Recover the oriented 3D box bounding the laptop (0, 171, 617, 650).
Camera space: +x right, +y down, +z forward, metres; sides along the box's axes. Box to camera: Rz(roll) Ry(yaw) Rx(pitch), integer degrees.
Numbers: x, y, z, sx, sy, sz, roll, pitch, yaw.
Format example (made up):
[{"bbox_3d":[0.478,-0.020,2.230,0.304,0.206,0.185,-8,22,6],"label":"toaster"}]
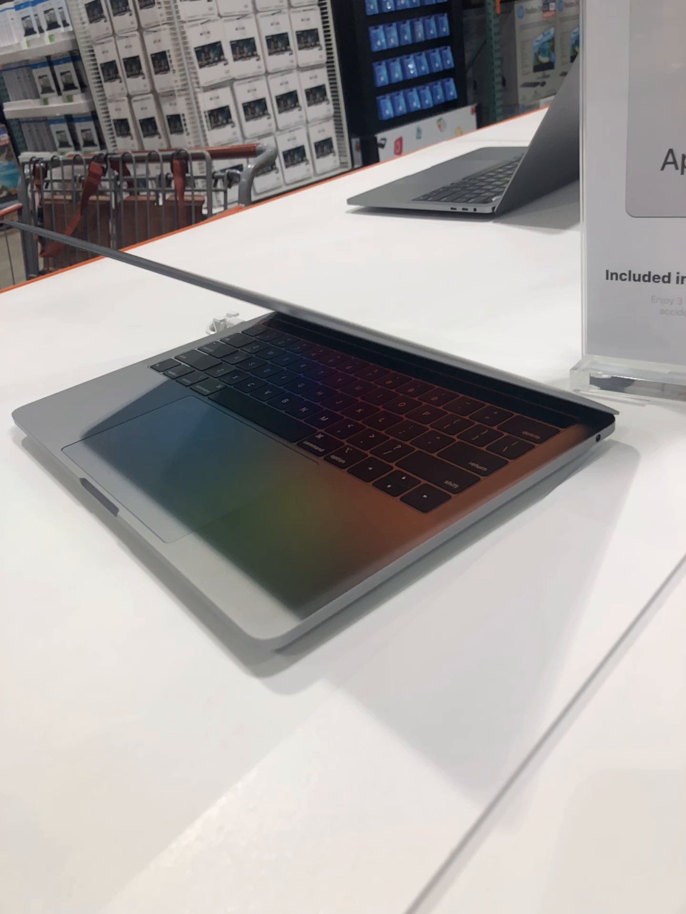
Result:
[{"bbox_3d":[-0.049,-0.067,0.402,0.210,0.109,0.298,-27,34,-29],"label":"laptop"}]
